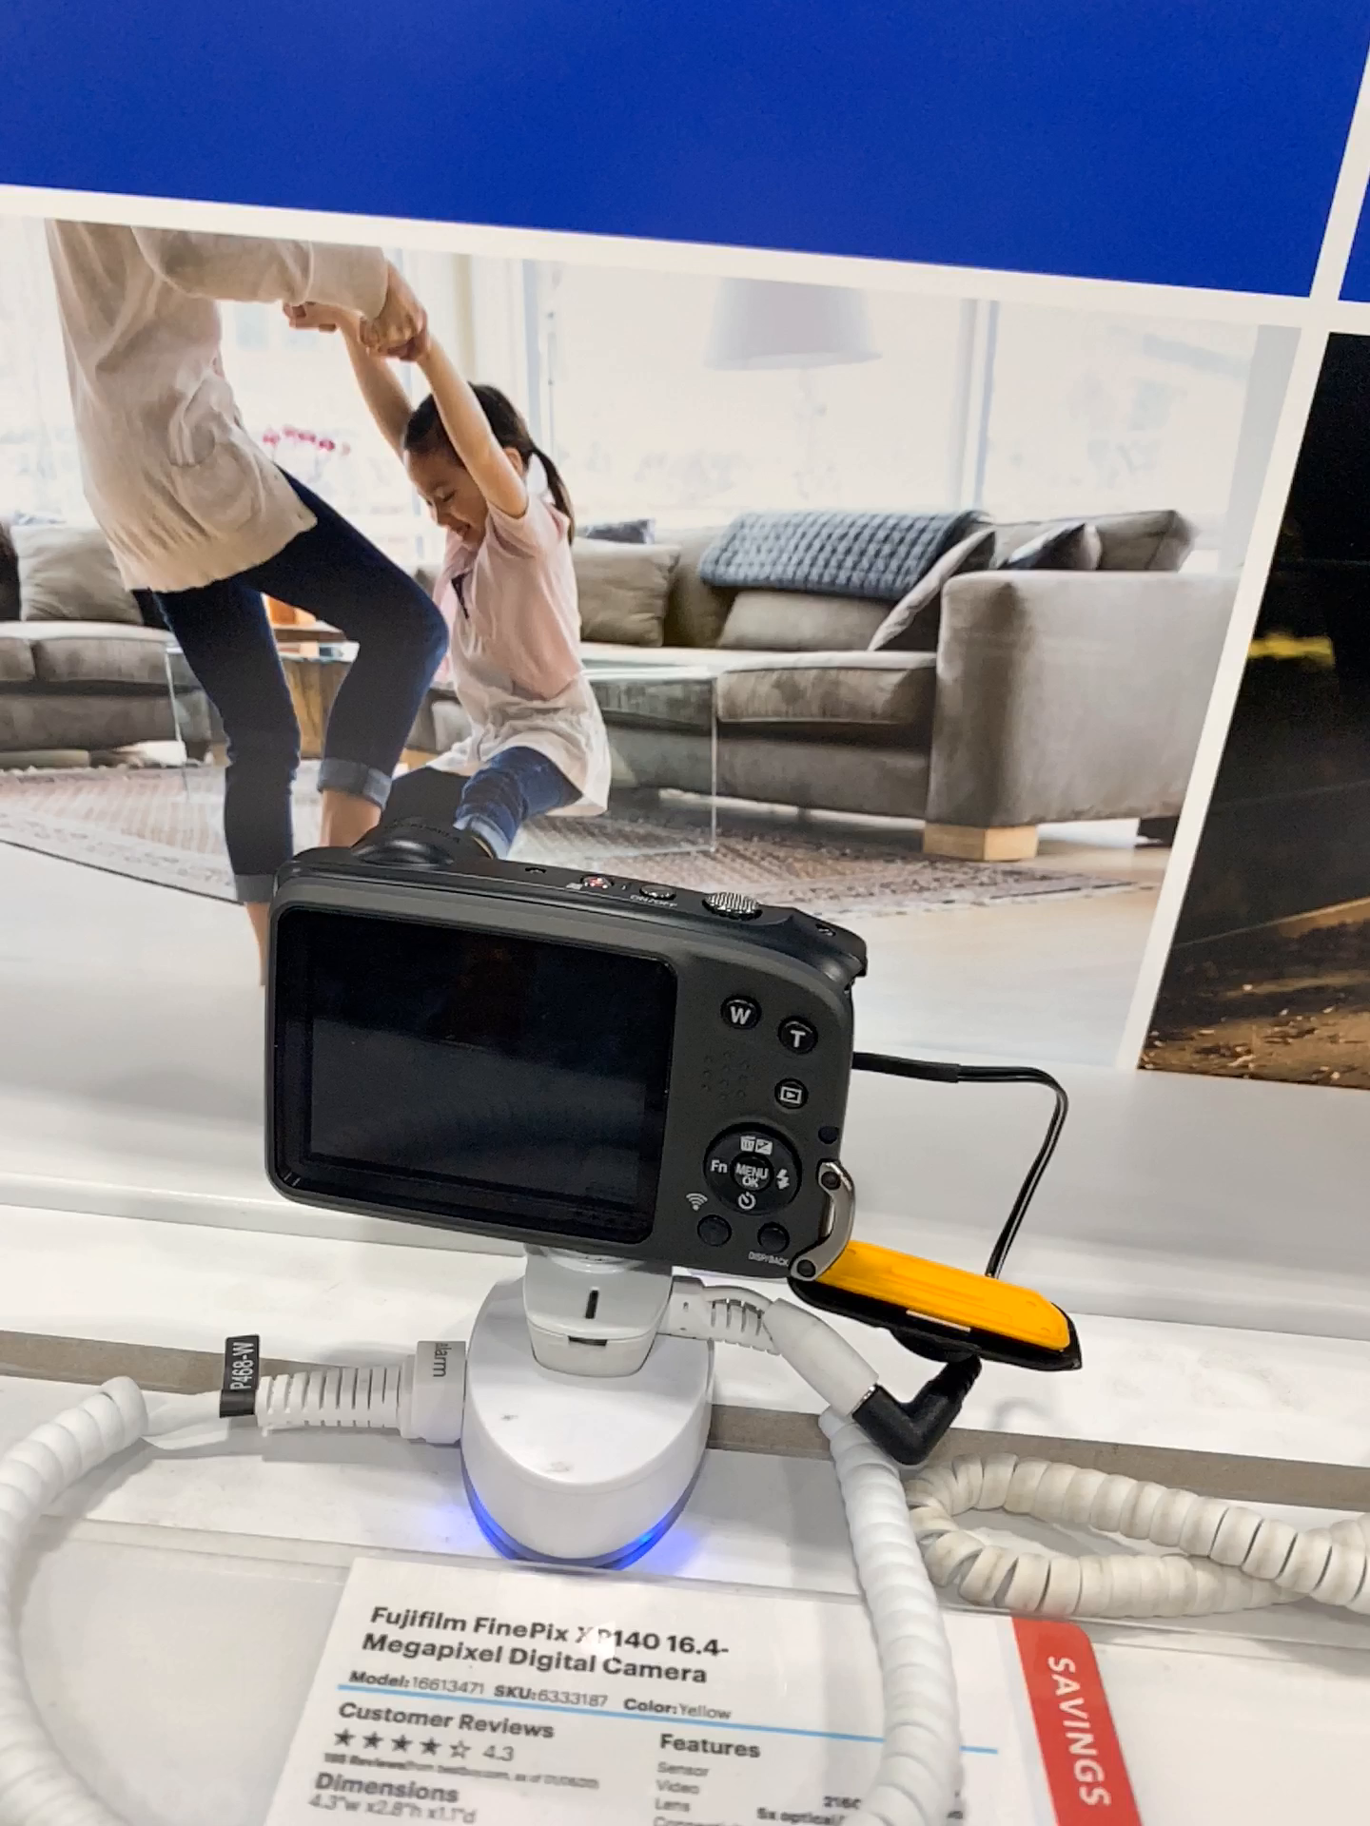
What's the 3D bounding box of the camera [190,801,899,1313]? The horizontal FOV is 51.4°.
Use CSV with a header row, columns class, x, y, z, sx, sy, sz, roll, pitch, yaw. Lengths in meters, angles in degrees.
class,x,y,z,sx,sy,sz,roll,pitch,yaw
camera,-0.024,0.023,0.252,0.110,0.060,0.040,11,18,2
